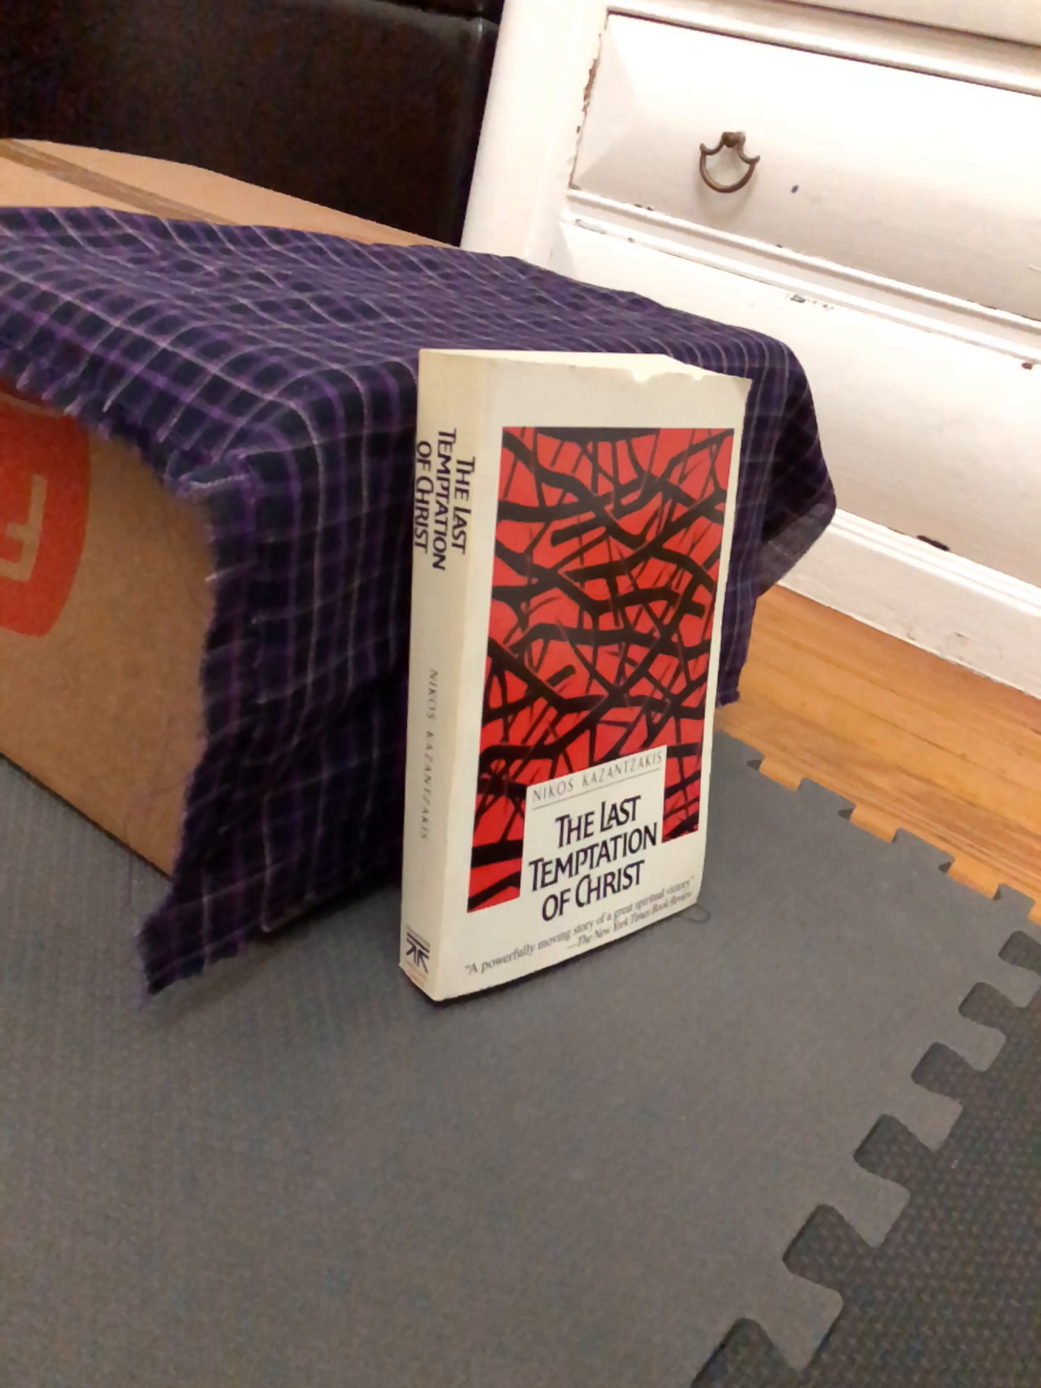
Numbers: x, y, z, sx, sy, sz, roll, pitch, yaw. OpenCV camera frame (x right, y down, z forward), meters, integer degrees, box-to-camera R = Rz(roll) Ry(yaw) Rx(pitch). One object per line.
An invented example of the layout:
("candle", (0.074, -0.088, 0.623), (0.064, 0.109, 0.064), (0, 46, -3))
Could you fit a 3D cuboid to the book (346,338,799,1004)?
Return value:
("book", (0.018, -0.016, 0.408), (0.150, 0.209, 0.050), (-12, 24, -35))
